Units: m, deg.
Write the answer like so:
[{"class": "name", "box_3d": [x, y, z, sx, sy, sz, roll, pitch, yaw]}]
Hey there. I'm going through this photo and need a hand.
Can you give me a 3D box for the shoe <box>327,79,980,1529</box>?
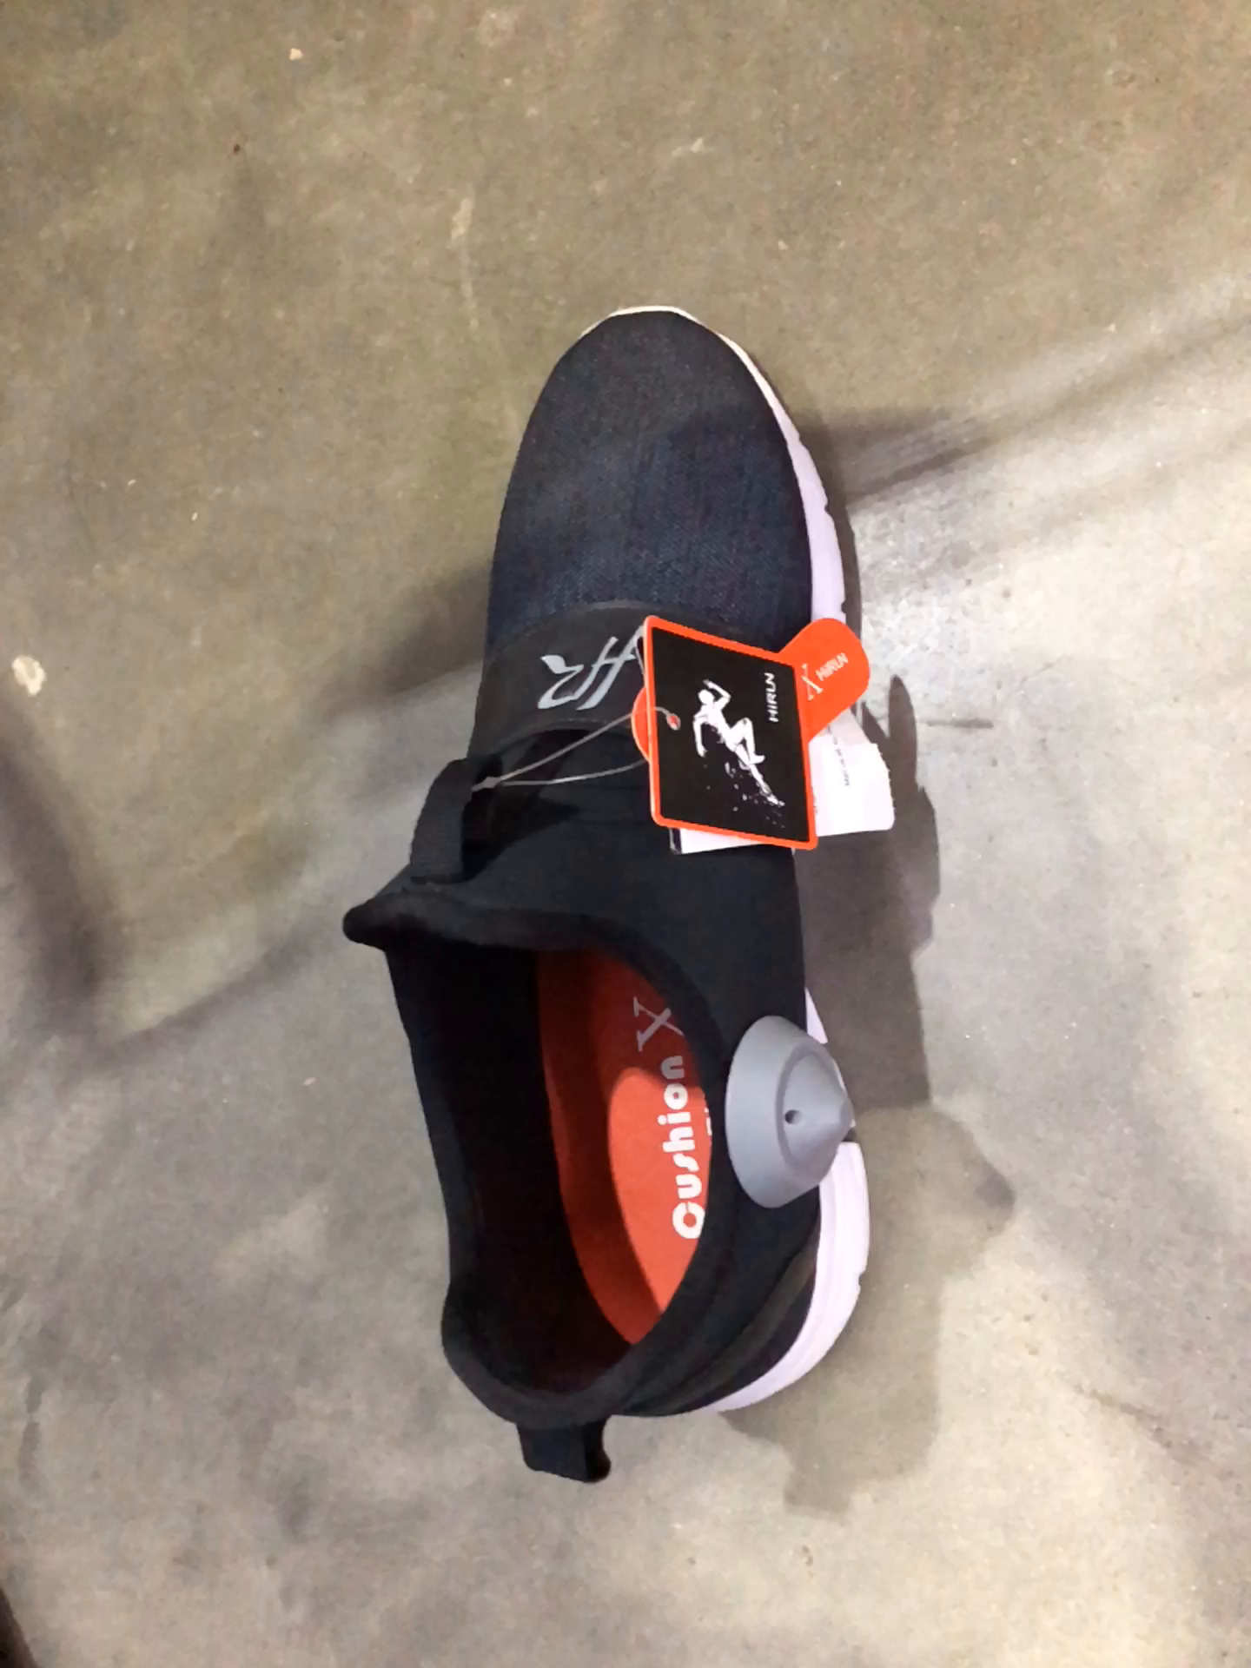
[{"class": "shoe", "box_3d": [0.012, -0.004, 0.334, 0.100, 0.130, 0.270, -6, 82, 24]}]
